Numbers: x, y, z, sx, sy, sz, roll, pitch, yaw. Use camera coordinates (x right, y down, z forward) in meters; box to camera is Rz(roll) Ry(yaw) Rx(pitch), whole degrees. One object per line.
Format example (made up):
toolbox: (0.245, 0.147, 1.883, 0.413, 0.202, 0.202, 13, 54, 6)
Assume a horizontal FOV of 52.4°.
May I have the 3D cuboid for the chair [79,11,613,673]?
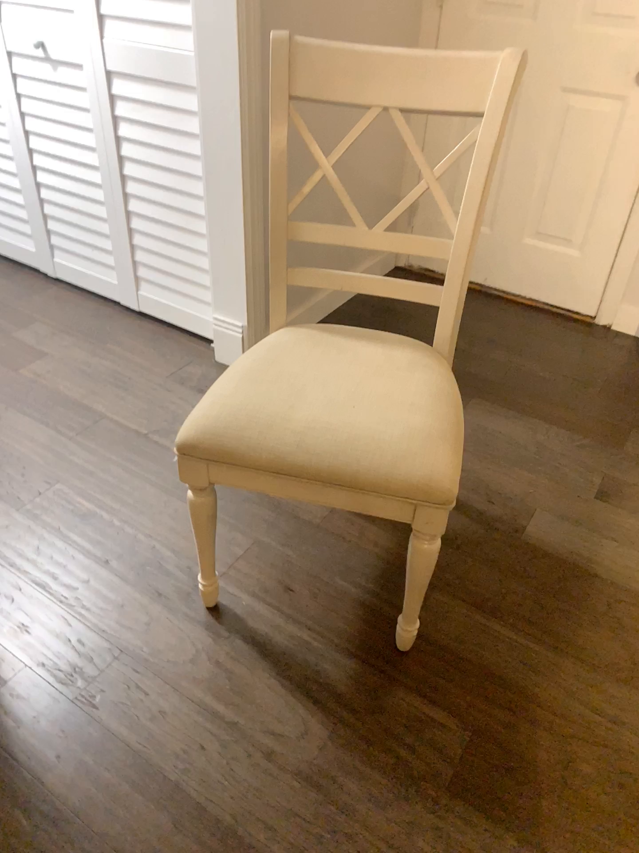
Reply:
chair: (0.059, -0.151, 1.230, 0.580, 0.994, 0.614, 10, 38, 9)
